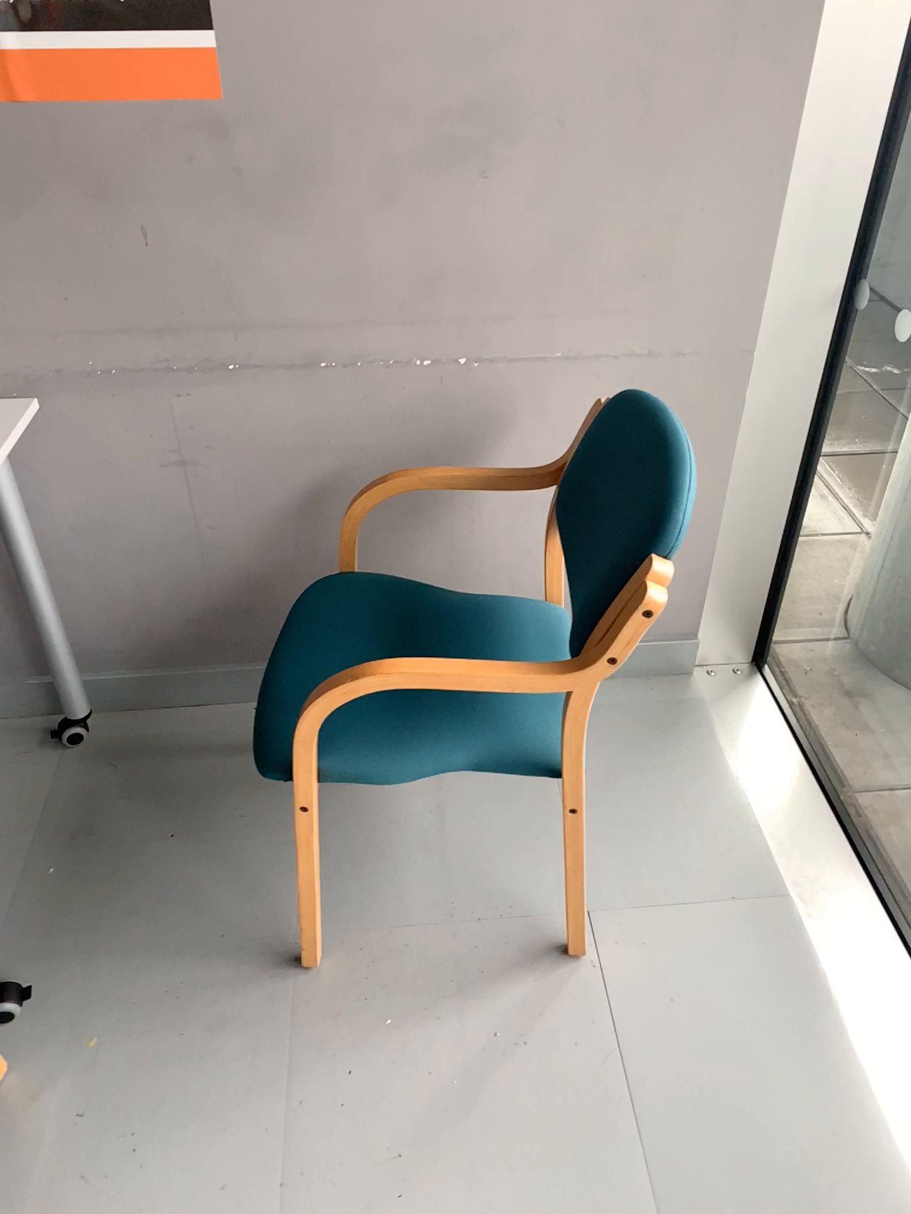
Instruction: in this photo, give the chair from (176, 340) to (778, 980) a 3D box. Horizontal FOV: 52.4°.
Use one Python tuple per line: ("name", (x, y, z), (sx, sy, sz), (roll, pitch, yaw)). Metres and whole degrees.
("chair", (0.010, 0.058, 1.471), (0.640, 0.723, 0.687), (-1, 36, -2))
